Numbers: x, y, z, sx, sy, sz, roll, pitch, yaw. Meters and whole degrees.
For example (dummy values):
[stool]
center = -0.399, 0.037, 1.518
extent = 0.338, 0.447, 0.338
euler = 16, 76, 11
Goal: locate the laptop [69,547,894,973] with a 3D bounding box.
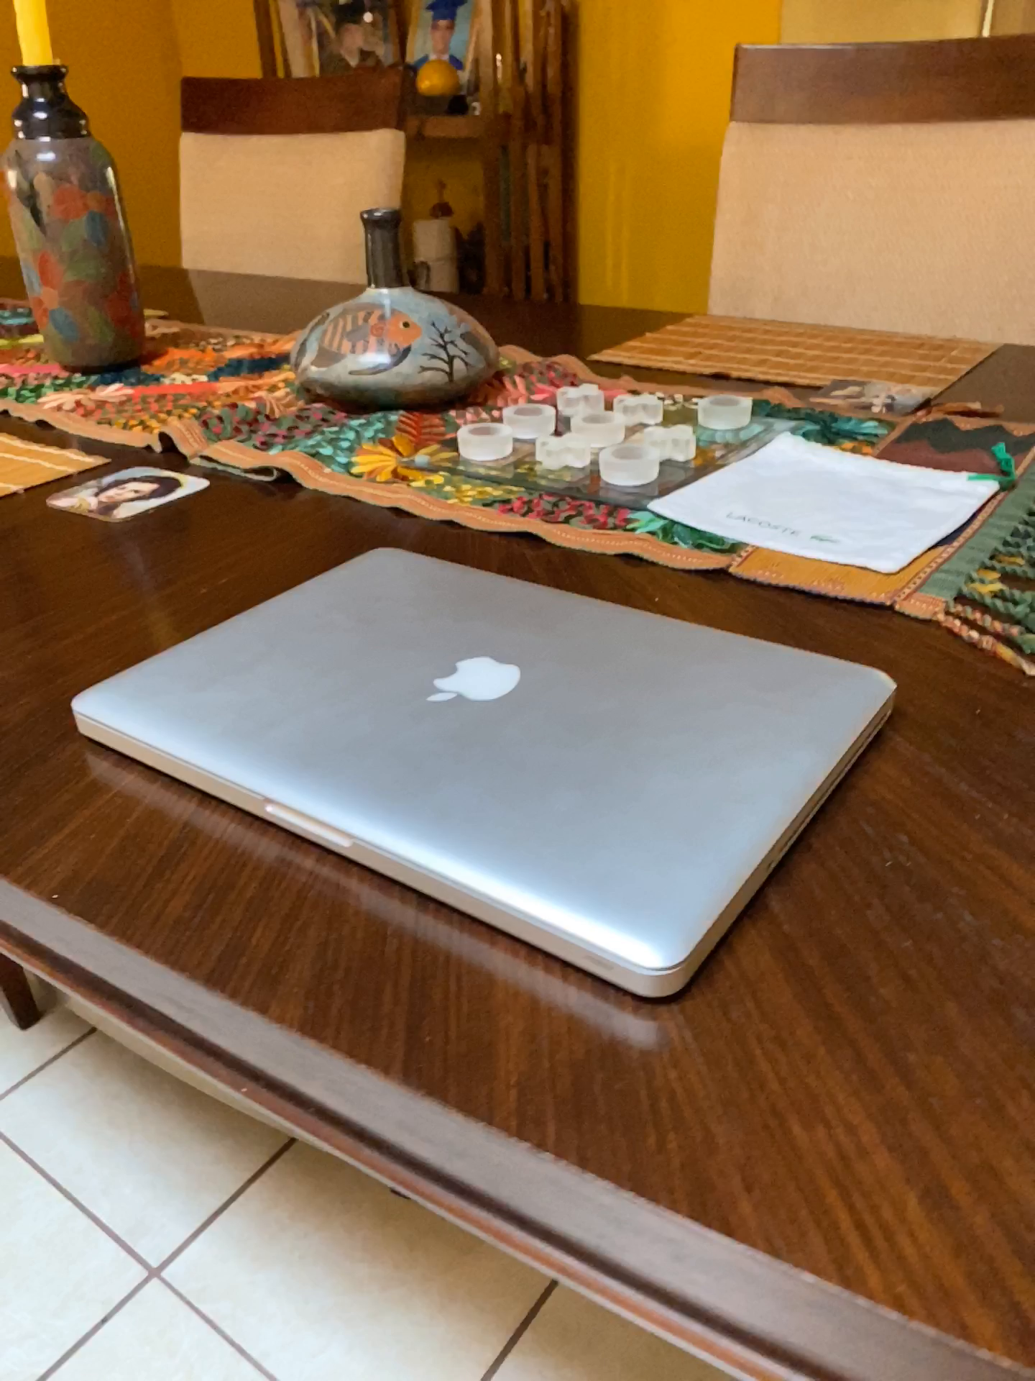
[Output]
[laptop]
center = -0.018, 0.001, 0.514
extent = 0.324, 0.002, 0.233
euler = 17, 35, 31
